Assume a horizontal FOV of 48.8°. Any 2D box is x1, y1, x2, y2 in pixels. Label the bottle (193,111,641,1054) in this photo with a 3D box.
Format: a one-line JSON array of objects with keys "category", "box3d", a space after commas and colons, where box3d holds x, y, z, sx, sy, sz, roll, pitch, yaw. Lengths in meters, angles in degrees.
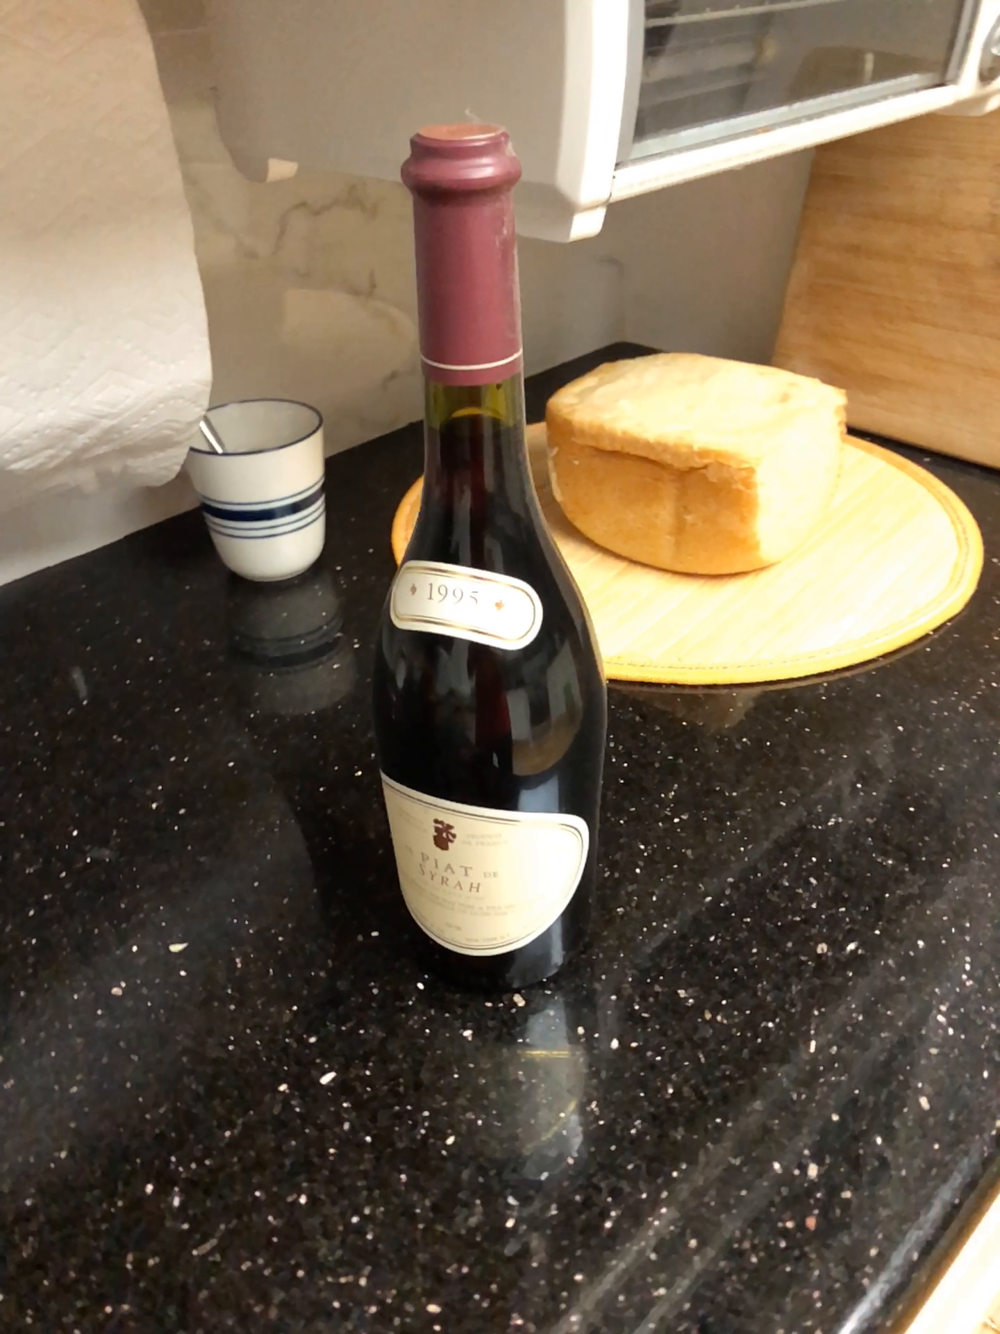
[{"category": "bottle", "box3d": [-0.012, -0.013, 0.380, 0.090, 0.308, 0.090, -2, 34, 1]}]
